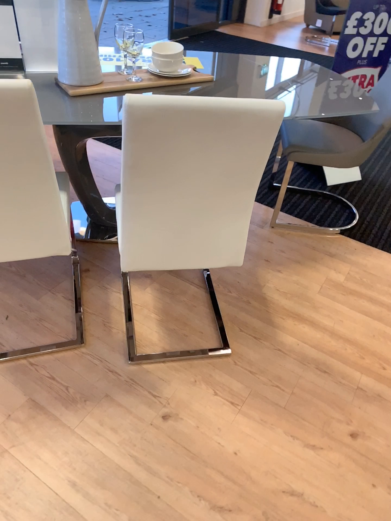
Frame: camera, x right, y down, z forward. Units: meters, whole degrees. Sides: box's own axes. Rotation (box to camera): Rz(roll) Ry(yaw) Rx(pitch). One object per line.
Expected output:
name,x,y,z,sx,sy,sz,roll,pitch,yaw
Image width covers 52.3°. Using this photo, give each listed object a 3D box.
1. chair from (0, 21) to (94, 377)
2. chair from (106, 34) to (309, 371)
chair,-0.609,-0.167,1.270,0.432,0.933,0.529,-7,41,-16
chair,-0.046,-0.160,1.320,0.422,0.923,0.540,-4,41,-11
